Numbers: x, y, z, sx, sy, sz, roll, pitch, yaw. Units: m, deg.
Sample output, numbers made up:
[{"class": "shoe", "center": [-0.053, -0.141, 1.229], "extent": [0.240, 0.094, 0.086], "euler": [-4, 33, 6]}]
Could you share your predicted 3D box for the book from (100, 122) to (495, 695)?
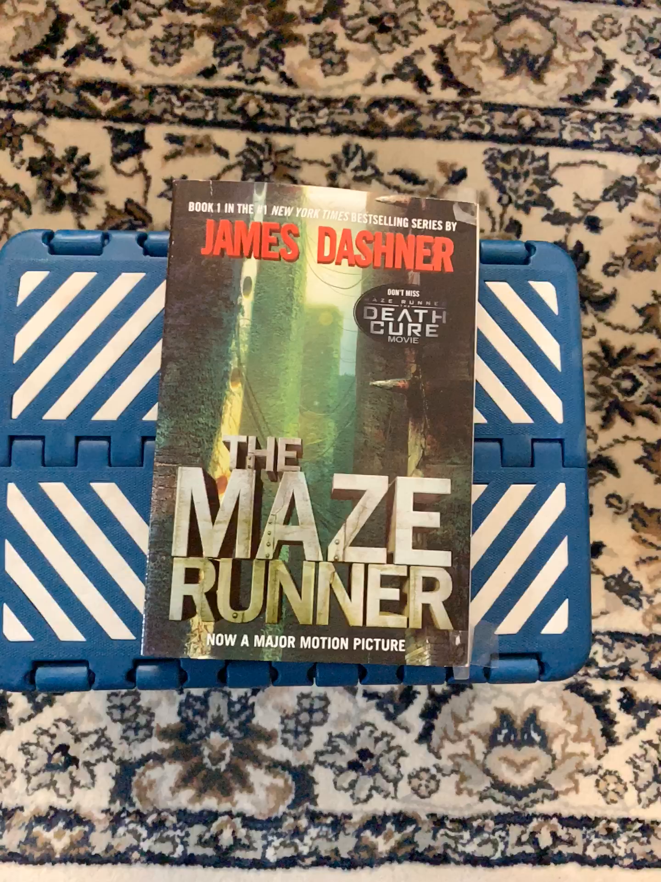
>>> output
[{"class": "book", "center": [-0.009, -0.016, 0.297], "extent": [0.150, 0.030, 0.230], "euler": [3, 83, -3]}]
